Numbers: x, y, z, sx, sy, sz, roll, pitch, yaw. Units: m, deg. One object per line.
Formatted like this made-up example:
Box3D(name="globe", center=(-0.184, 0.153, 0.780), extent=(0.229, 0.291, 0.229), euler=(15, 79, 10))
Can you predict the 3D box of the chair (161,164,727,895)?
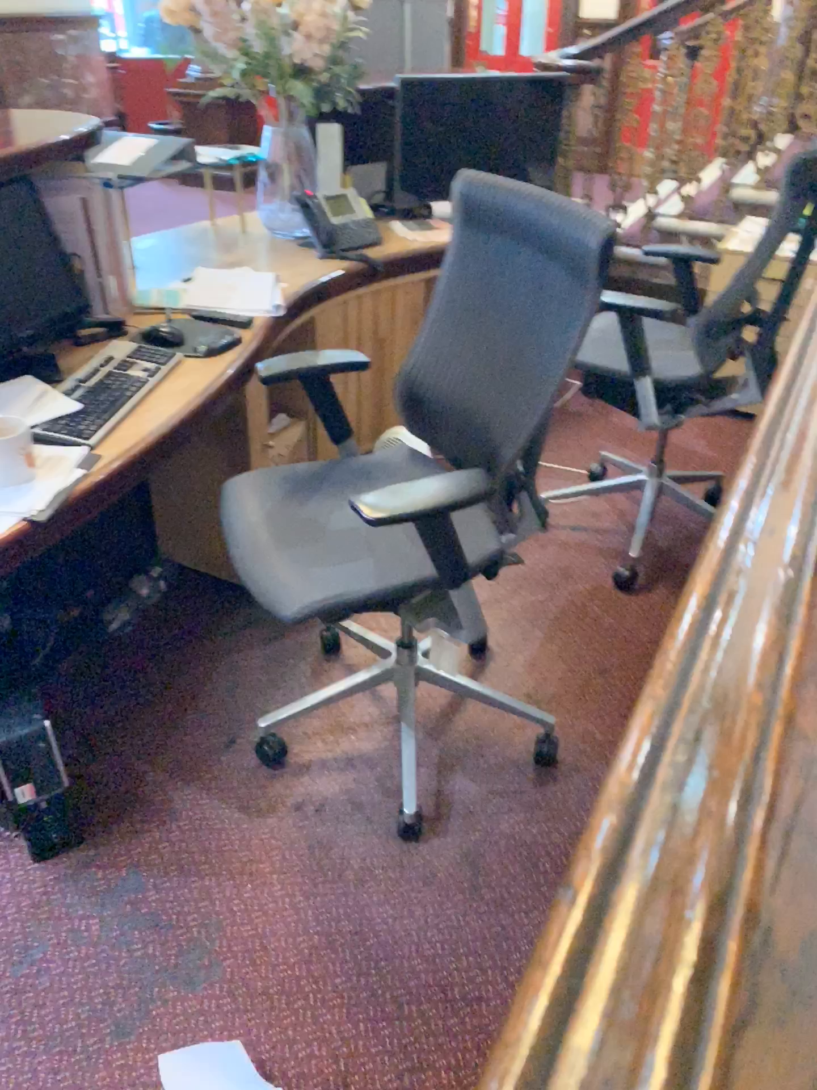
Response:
Box3D(name="chair", center=(-0.007, -0.072, 1.656), extent=(0.691, 1.129, 0.726), euler=(-12, 34, -18))
